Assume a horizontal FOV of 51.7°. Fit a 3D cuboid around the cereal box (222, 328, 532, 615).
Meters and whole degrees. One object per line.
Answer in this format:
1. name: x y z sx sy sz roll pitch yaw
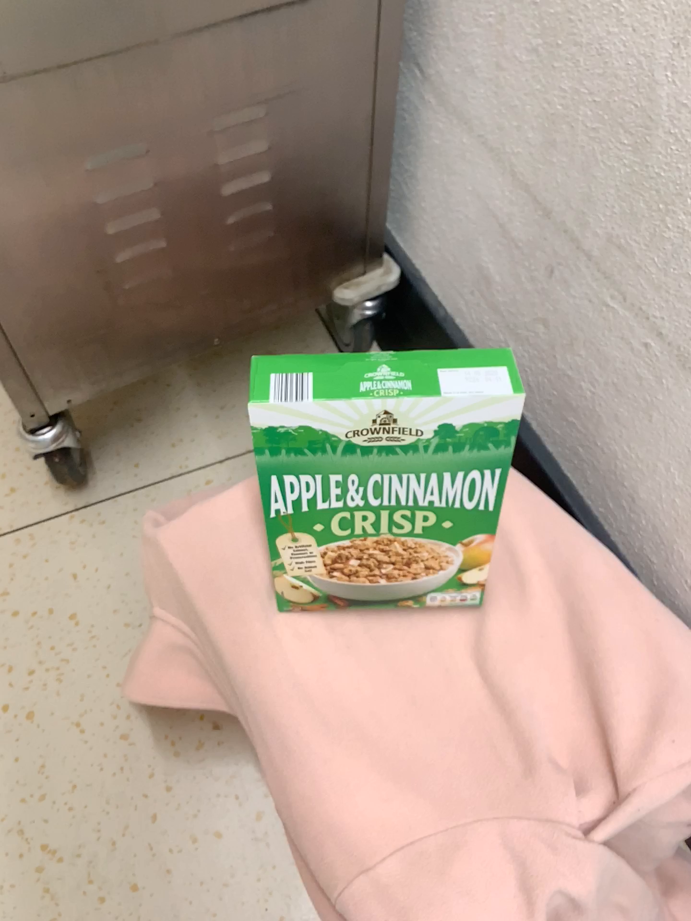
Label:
1. cereal box: 0.020 0.023 0.551 0.190 0.258 0.060 -1 47 -1
